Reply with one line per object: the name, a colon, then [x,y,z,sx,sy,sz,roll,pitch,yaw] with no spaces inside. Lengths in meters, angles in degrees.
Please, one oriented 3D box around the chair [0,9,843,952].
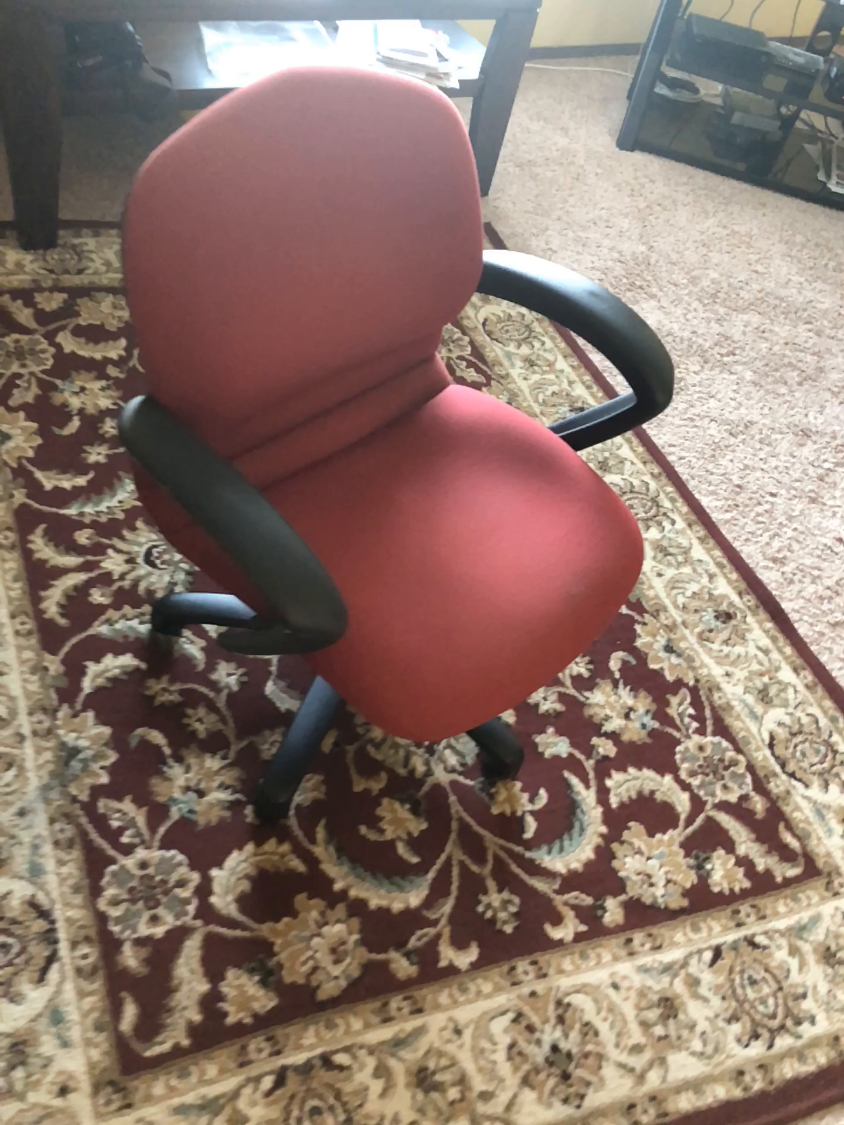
chair: [-0.015,-0.109,1.129,0.651,0.729,0.620,-33,65,-34]
